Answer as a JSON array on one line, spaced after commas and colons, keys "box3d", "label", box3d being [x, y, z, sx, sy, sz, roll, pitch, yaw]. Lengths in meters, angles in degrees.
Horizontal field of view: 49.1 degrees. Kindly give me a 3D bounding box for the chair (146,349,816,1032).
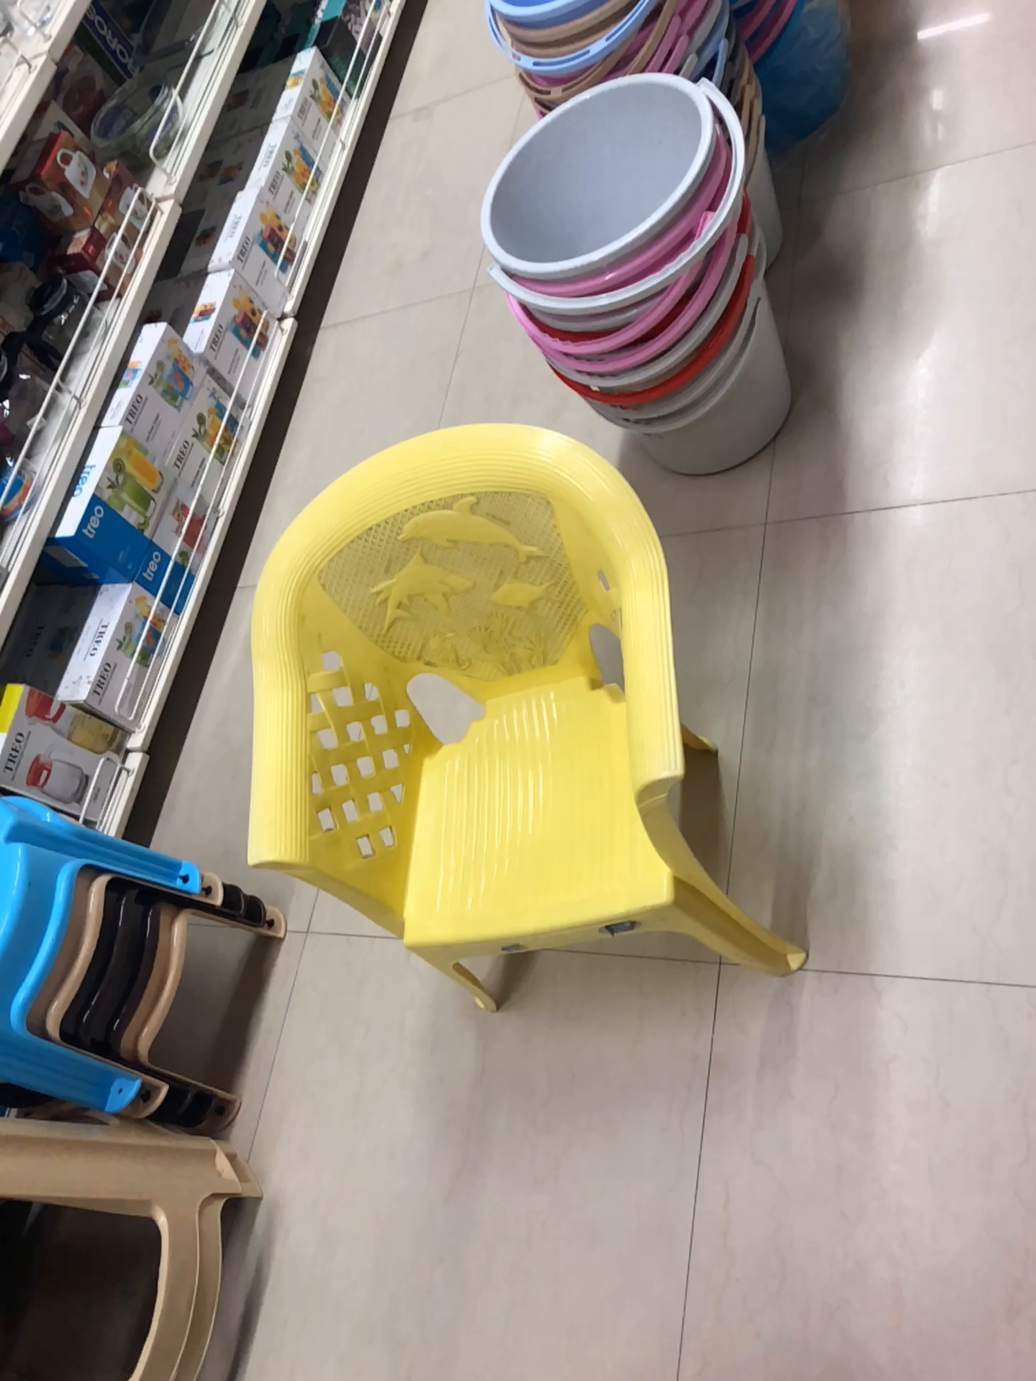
[{"box3d": [-0.014, 0.040, 1.142, 0.471, 0.398, 0.472, -14, 57, 24], "label": "chair"}]
